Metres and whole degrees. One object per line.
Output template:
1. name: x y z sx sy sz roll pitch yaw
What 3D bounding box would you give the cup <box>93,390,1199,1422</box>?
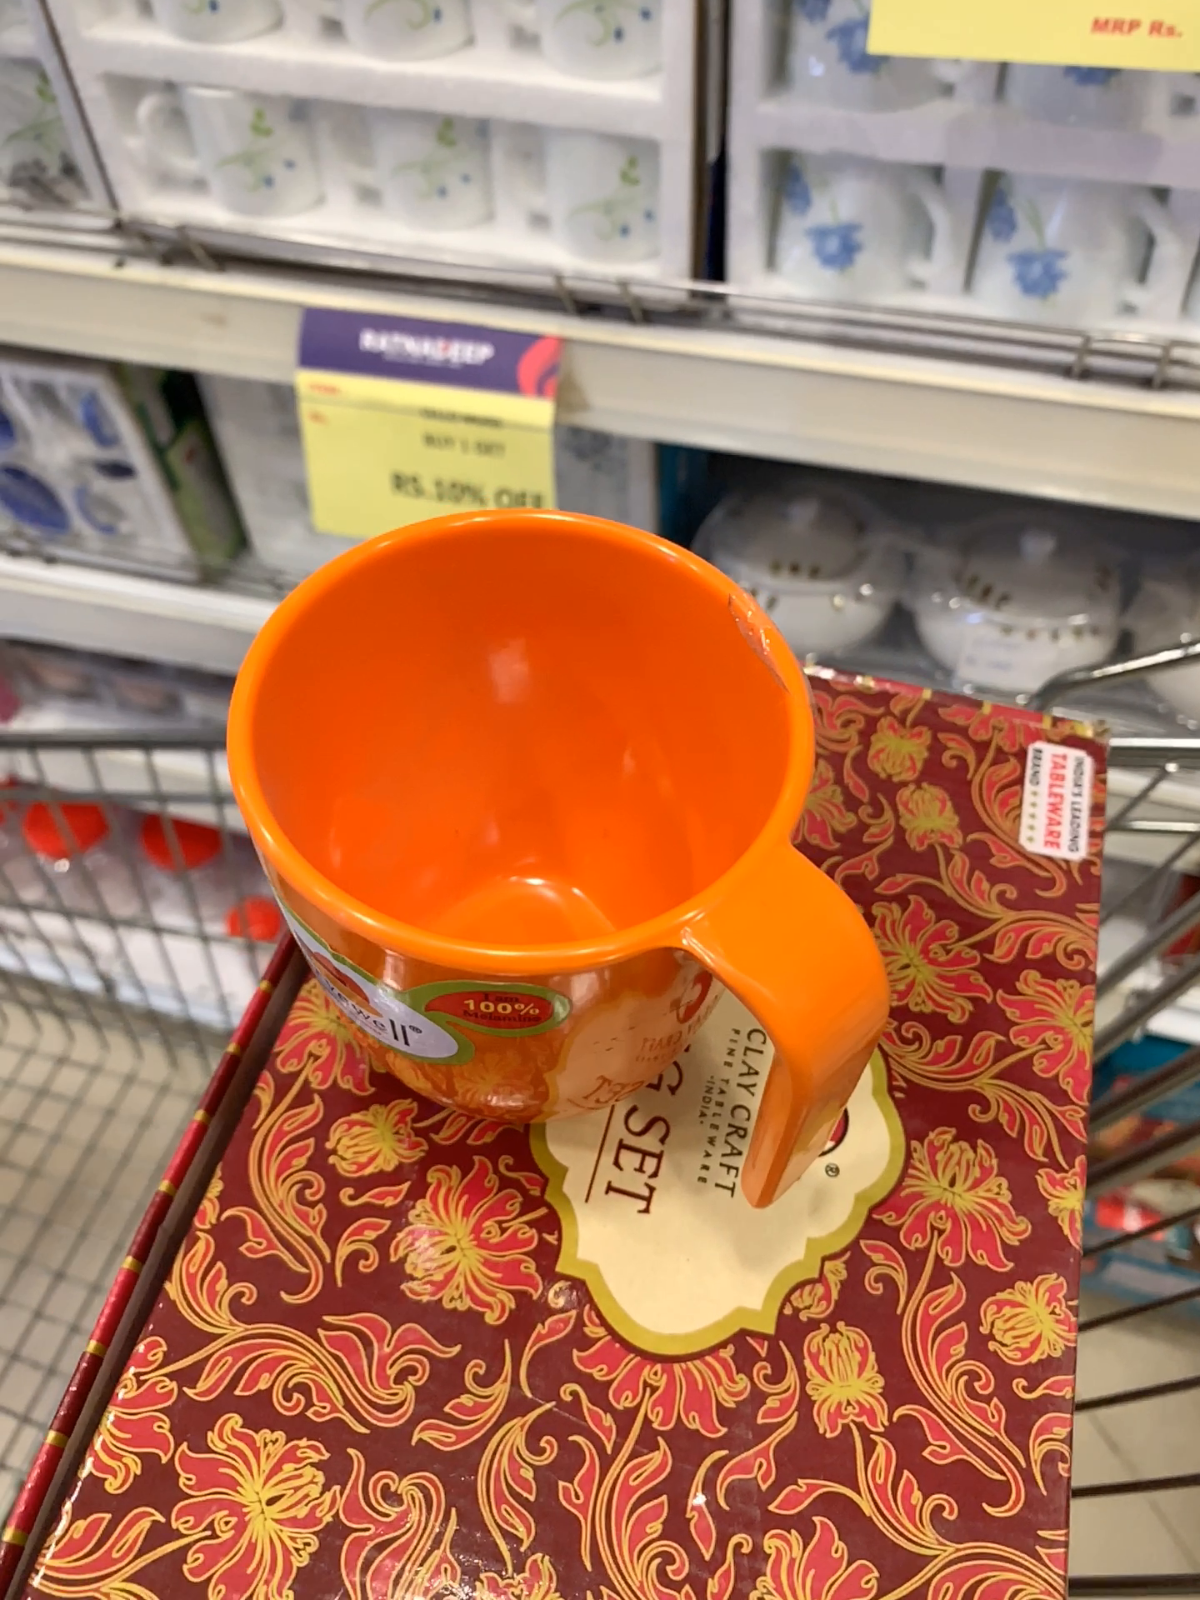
1. cup: 0.004 0.012 0.183 0.110 0.070 0.080 35 62 21
